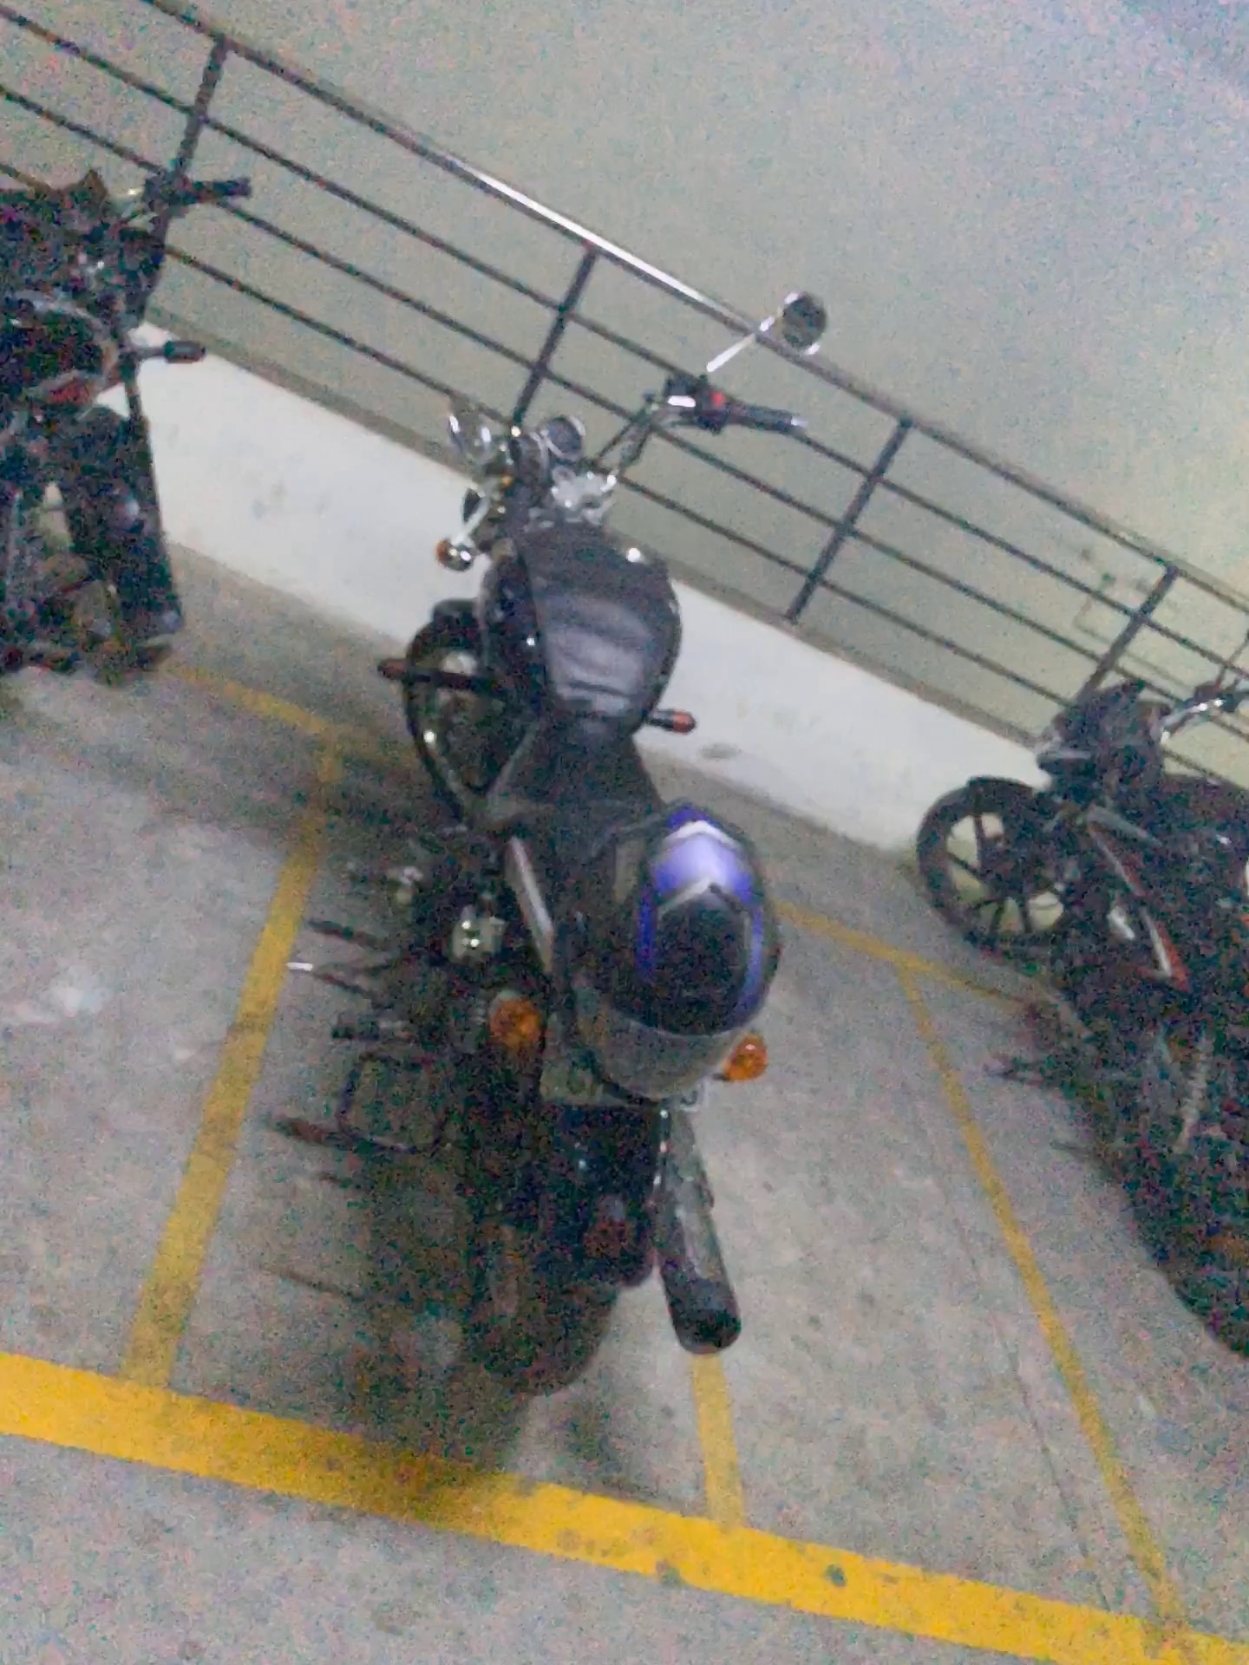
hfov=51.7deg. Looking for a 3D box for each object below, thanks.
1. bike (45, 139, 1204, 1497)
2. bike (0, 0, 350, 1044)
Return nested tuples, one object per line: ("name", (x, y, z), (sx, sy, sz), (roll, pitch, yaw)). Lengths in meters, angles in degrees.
("bike", (-0.260, -0.141, 2.131), (0.843, 1.304, 1.671), (17, 27, -27))
("bike", (-1.208, -0.649, 2.124), (0.593, 1.193, 1.509), (29, 25, -3))
